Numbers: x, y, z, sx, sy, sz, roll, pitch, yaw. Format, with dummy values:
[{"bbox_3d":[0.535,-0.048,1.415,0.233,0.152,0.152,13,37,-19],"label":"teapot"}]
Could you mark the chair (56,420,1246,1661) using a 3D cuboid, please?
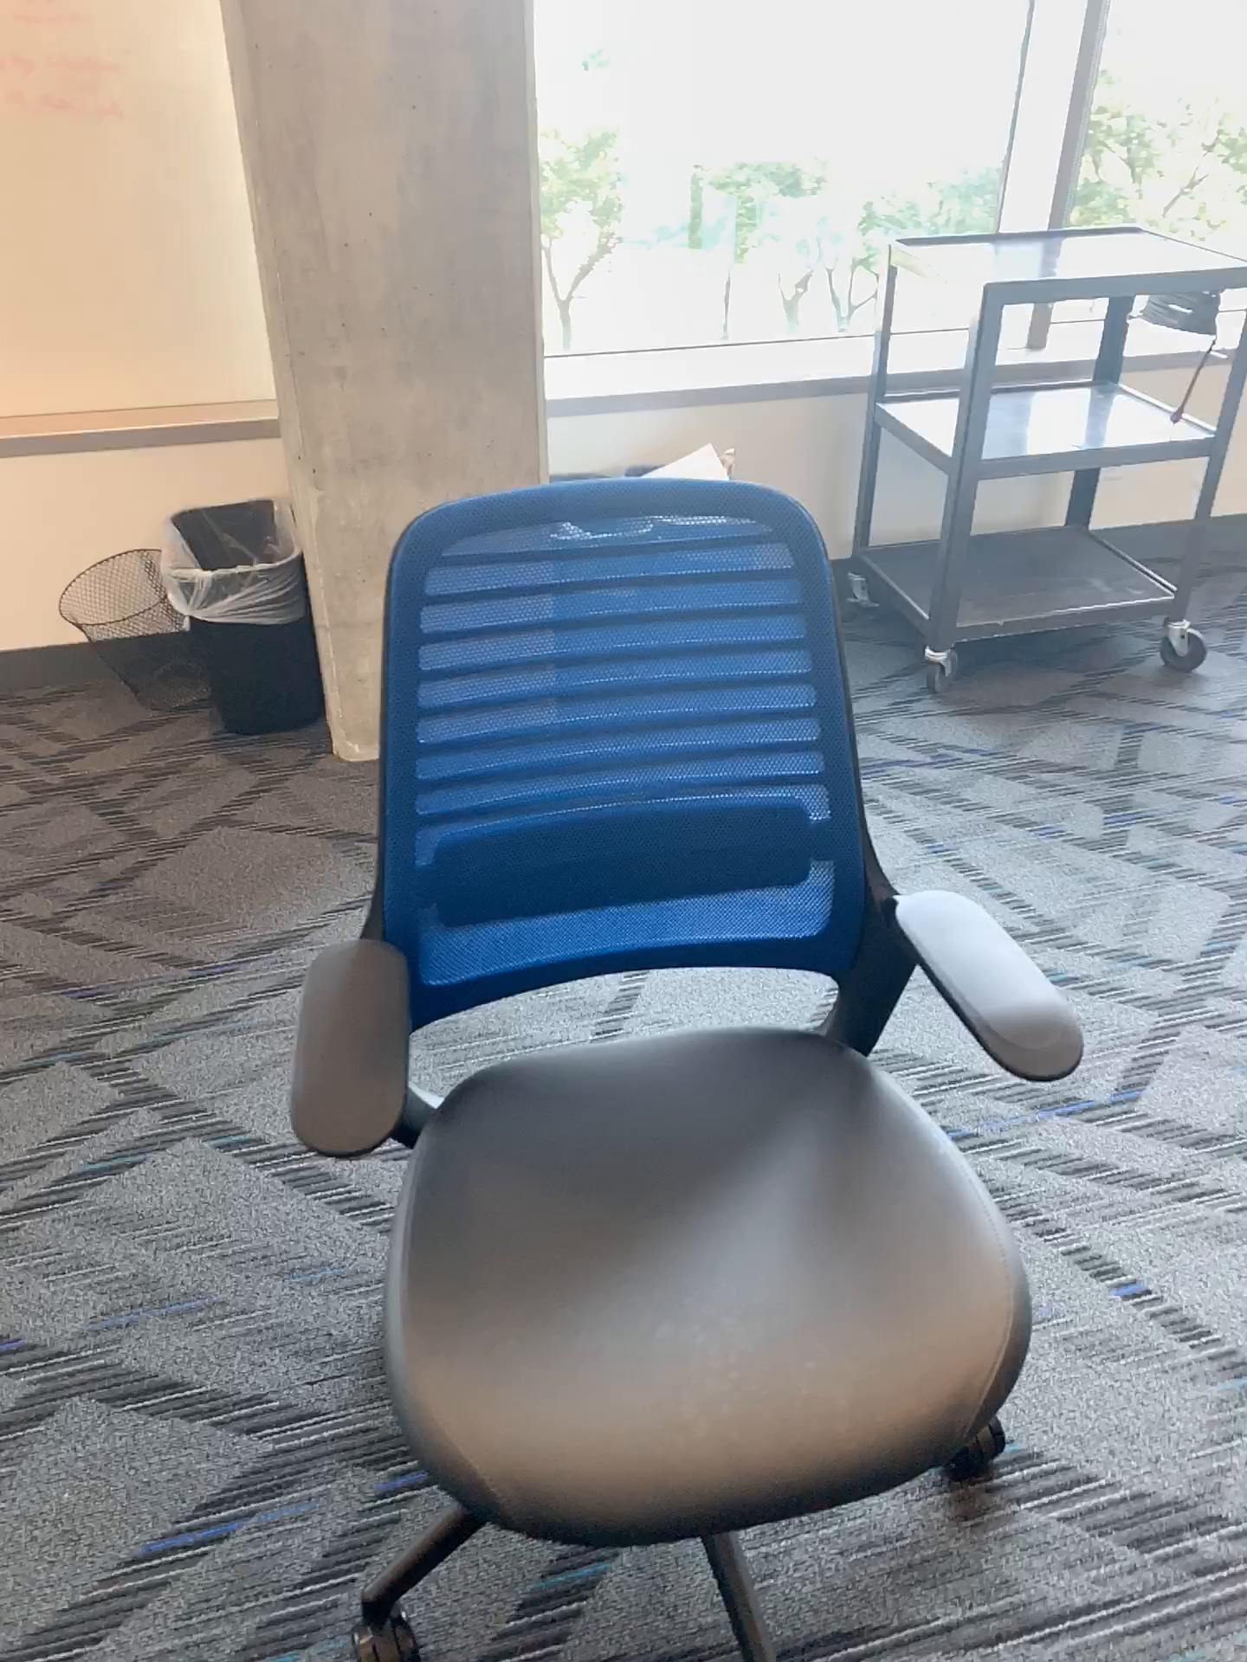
[{"bbox_3d":[0.056,0.240,1.019,0.701,0.882,0.686,-9,35,-13],"label":"chair"}]
